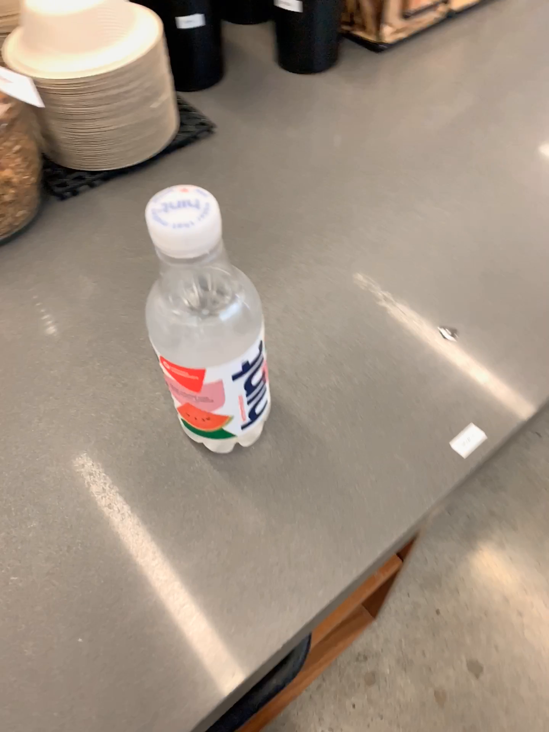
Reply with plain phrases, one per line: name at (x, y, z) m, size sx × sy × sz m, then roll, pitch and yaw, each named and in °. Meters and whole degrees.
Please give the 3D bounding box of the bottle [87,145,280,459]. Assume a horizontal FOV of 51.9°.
bottle at (-0.038, -0.022, 0.340) m, size 0.070 × 0.199 × 0.070 m, roll -1°, pitch 55°, yaw 2°
